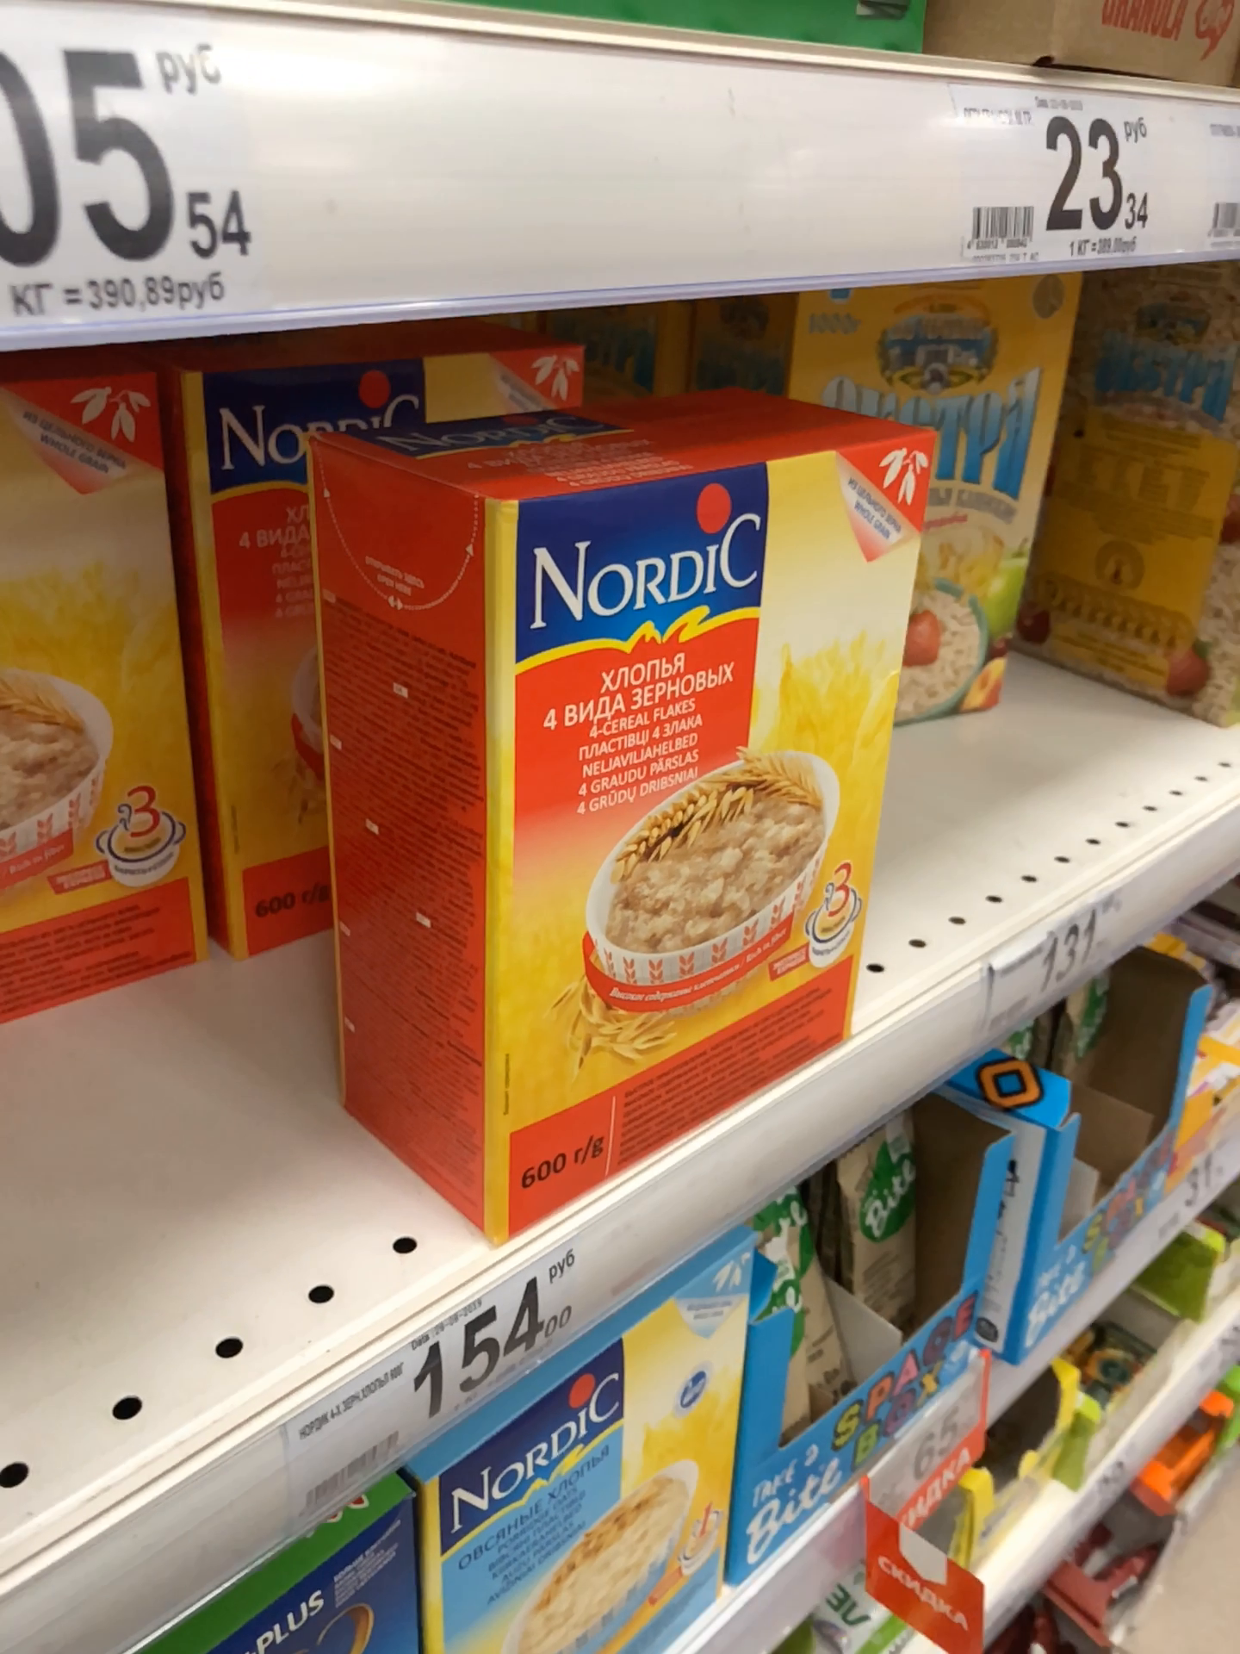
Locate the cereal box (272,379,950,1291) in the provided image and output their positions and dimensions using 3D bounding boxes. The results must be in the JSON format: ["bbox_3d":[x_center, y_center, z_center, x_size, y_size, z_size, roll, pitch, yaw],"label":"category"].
[{"bbox_3d":[-0.001,-0.007,0.376,0.150,0.199,0.080,-21,35,-39],"label":"cereal box"}]
